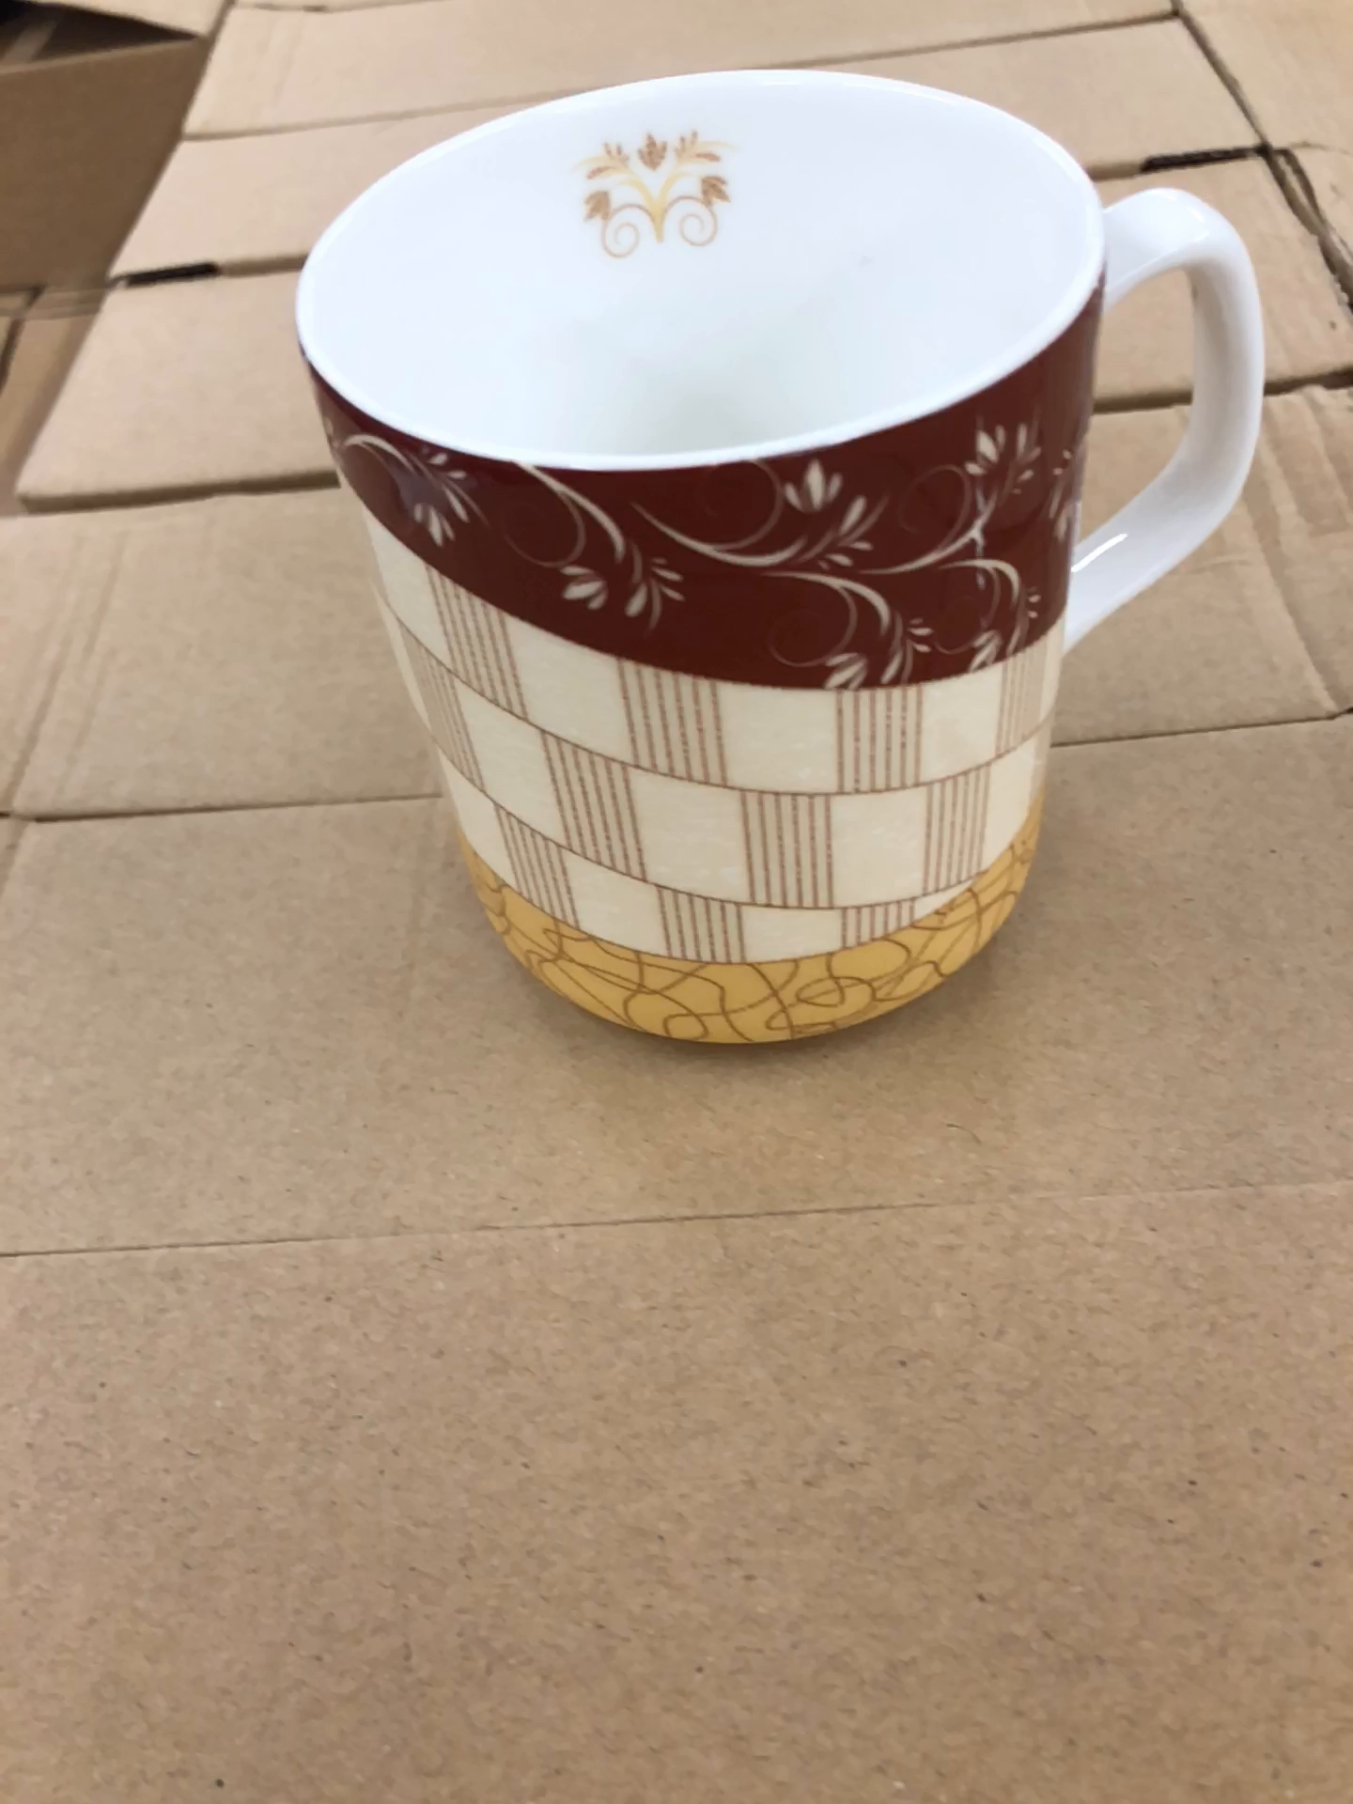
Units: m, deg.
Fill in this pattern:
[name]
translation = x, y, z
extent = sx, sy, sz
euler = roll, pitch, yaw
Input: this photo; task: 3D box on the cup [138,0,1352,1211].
[cup]
translation = 0.019, -0.039, 0.151
extent = 0.100, 0.080, 0.070
euler = -26, 51, -13
